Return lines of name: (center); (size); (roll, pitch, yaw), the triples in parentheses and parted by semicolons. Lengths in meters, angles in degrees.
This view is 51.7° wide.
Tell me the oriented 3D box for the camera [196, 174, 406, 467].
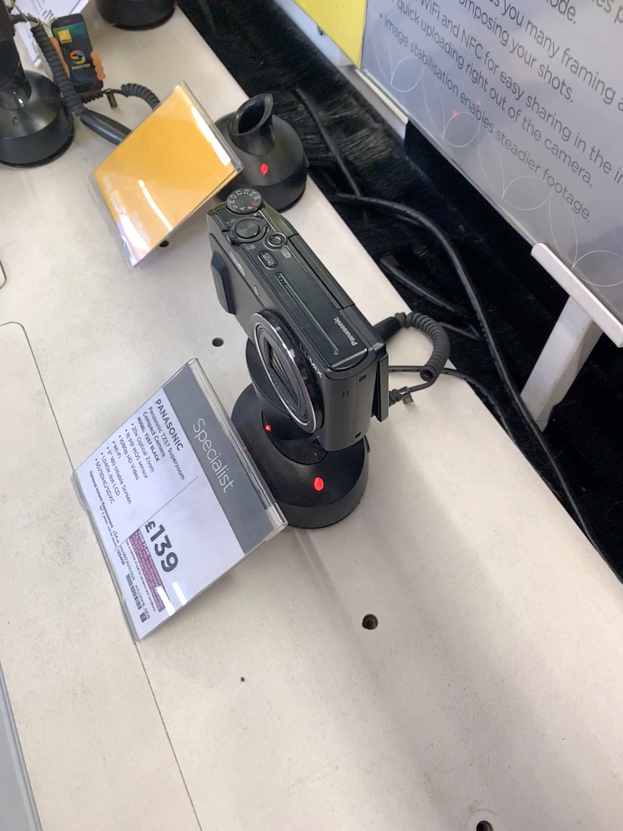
camera: (-0.007, -0.041, 0.273); (0.030, 0.060, 0.111); (-27, 62, -14)
